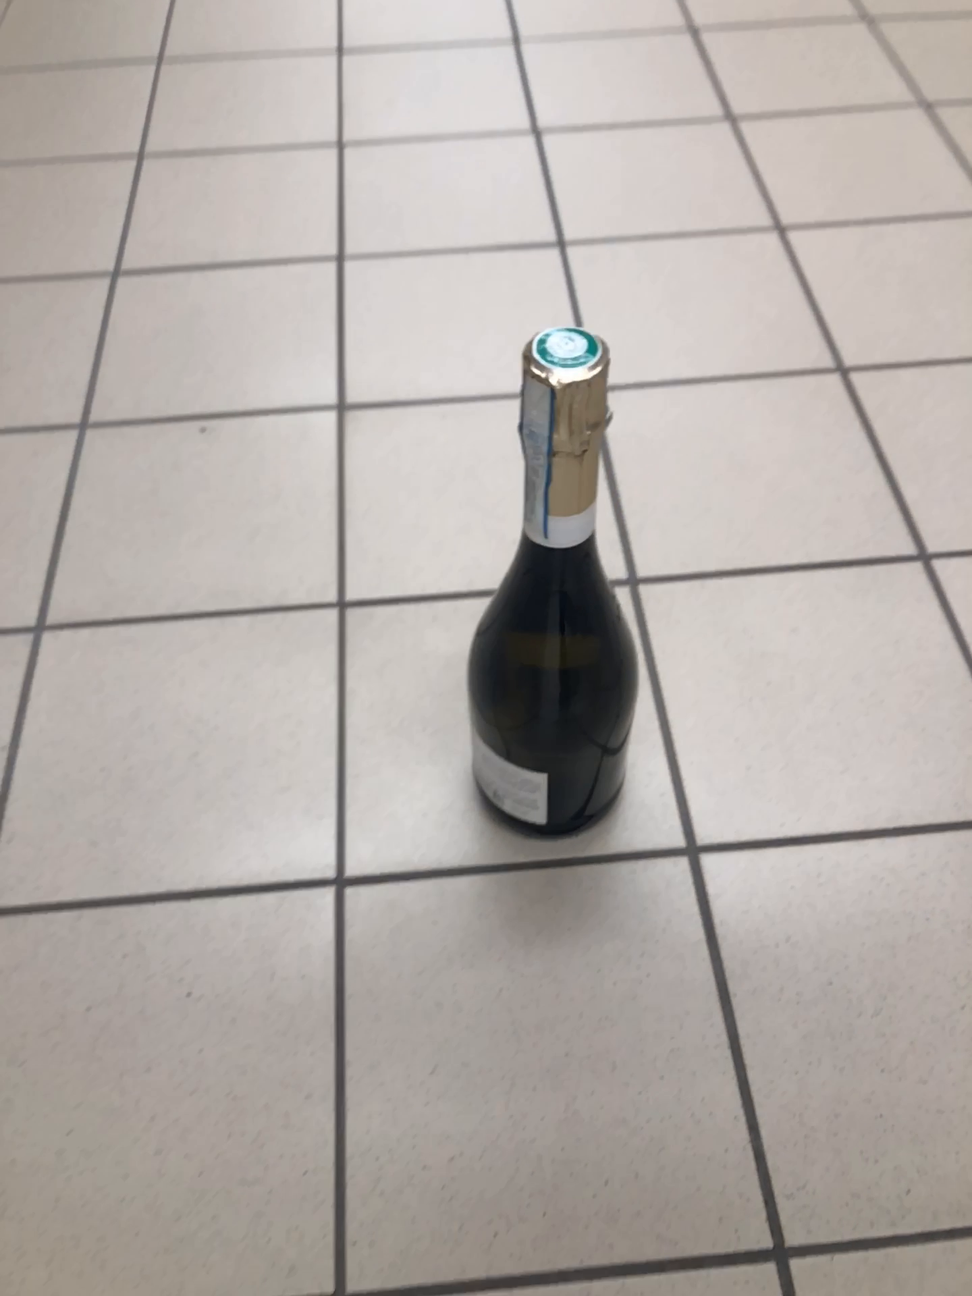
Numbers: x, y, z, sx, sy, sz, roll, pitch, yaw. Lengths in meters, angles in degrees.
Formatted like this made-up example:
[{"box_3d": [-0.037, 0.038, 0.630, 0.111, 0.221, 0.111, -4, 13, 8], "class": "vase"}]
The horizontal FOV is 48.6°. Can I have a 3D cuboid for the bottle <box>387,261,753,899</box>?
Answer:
[{"box_3d": [0.034, -0.009, 0.517, 0.090, 0.308, 0.100, -37, 59, -24], "class": "bottle"}]
